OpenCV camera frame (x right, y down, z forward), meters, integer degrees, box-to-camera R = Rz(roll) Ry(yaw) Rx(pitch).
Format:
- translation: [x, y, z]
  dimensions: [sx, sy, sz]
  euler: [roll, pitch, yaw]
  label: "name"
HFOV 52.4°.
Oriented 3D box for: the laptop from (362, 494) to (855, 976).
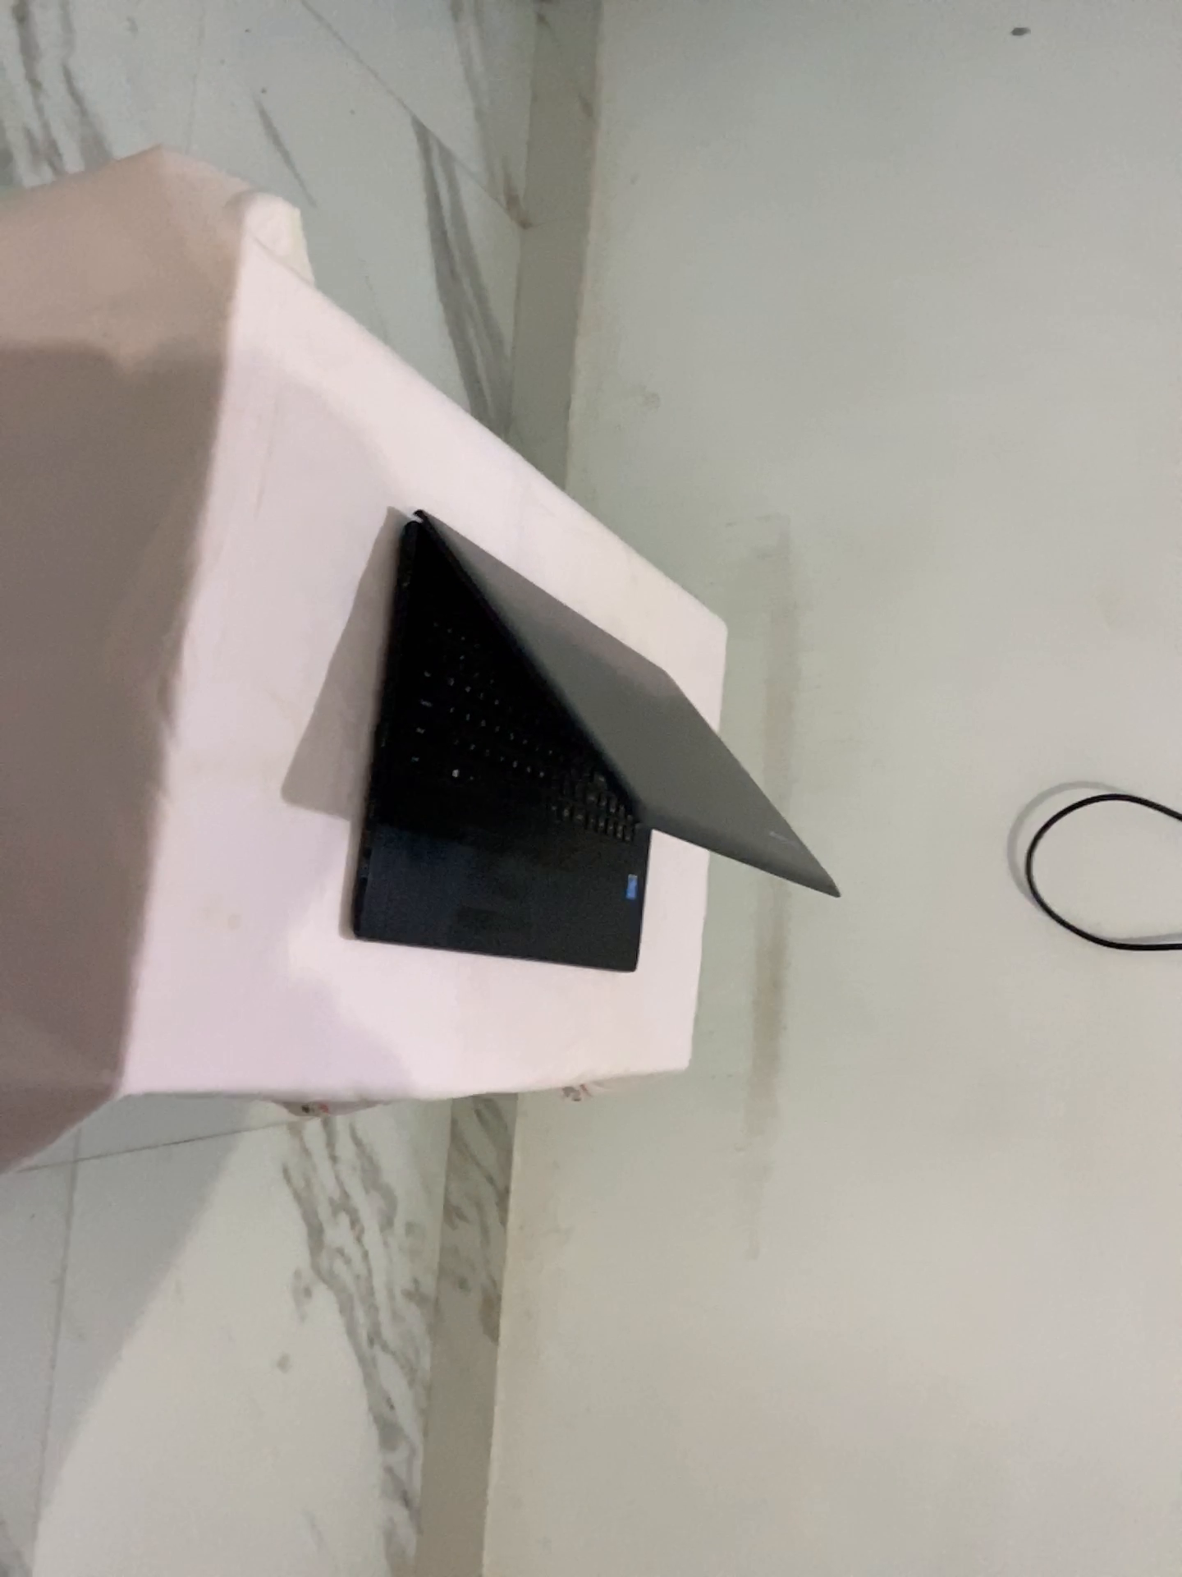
- translation: [0.041, -0.009, 0.865]
  dimensions: [0.370, 0.176, 0.258]
  euler: [21, 74, -61]
  label: "laptop"
